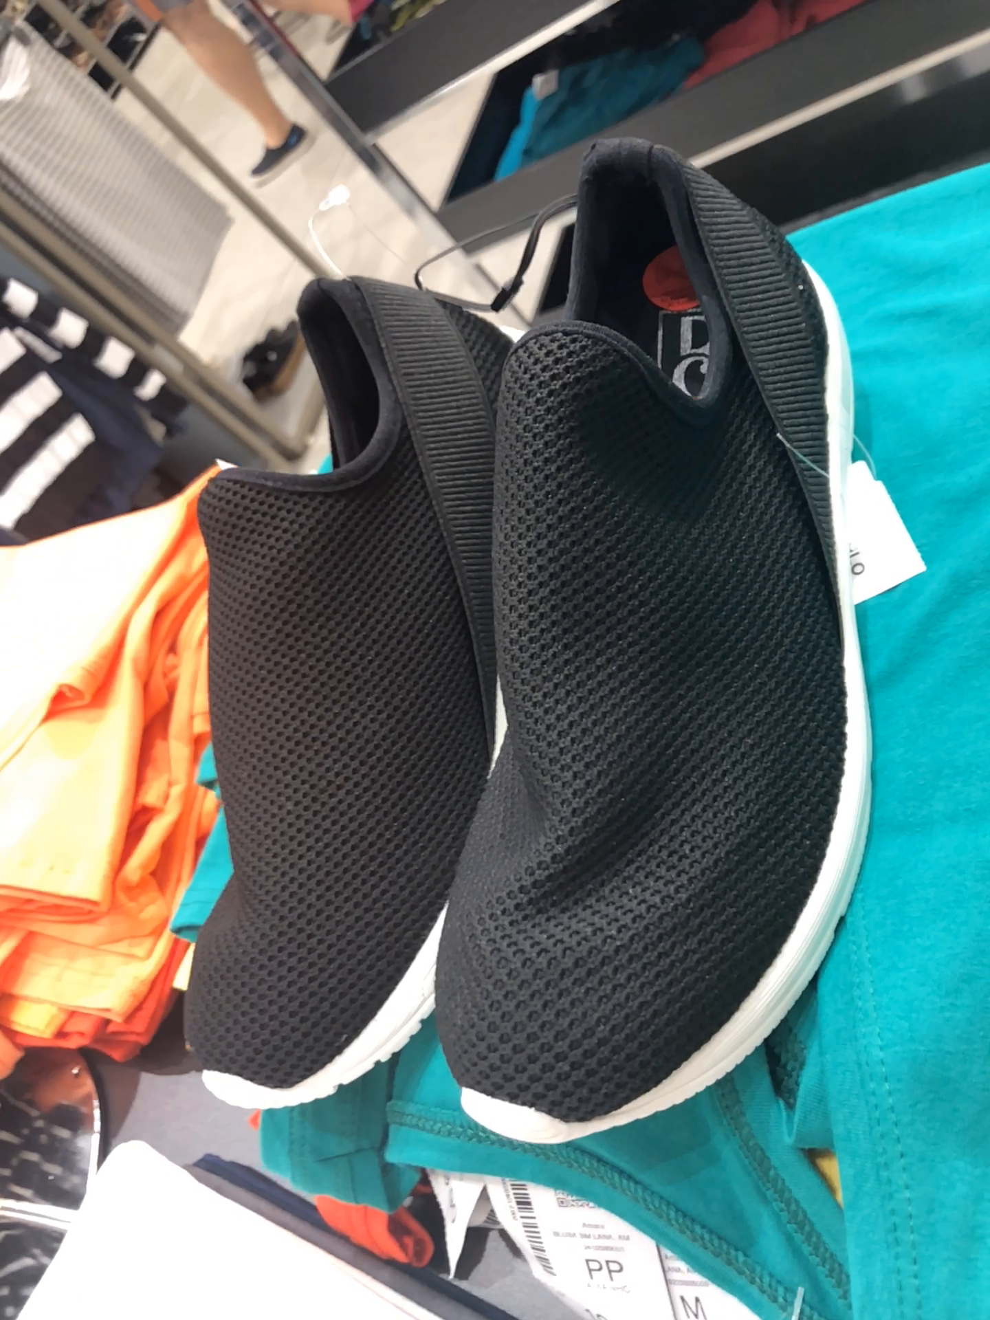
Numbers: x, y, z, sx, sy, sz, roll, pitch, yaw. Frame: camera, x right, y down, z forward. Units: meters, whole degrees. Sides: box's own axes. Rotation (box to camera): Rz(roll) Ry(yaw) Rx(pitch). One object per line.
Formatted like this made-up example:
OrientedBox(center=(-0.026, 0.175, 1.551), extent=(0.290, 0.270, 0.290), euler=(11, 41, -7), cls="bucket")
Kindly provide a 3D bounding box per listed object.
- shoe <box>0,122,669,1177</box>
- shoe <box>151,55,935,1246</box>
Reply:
OrientedBox(center=(-0.038, -0.004, 0.327), extent=(0.090, 0.119, 0.261), euler=(-7, 59, 40), cls="shoe")
OrientedBox(center=(0.033, -0.006, 0.276), extent=(0.090, 0.119, 0.241), euler=(-7, 56, 40), cls="shoe")
